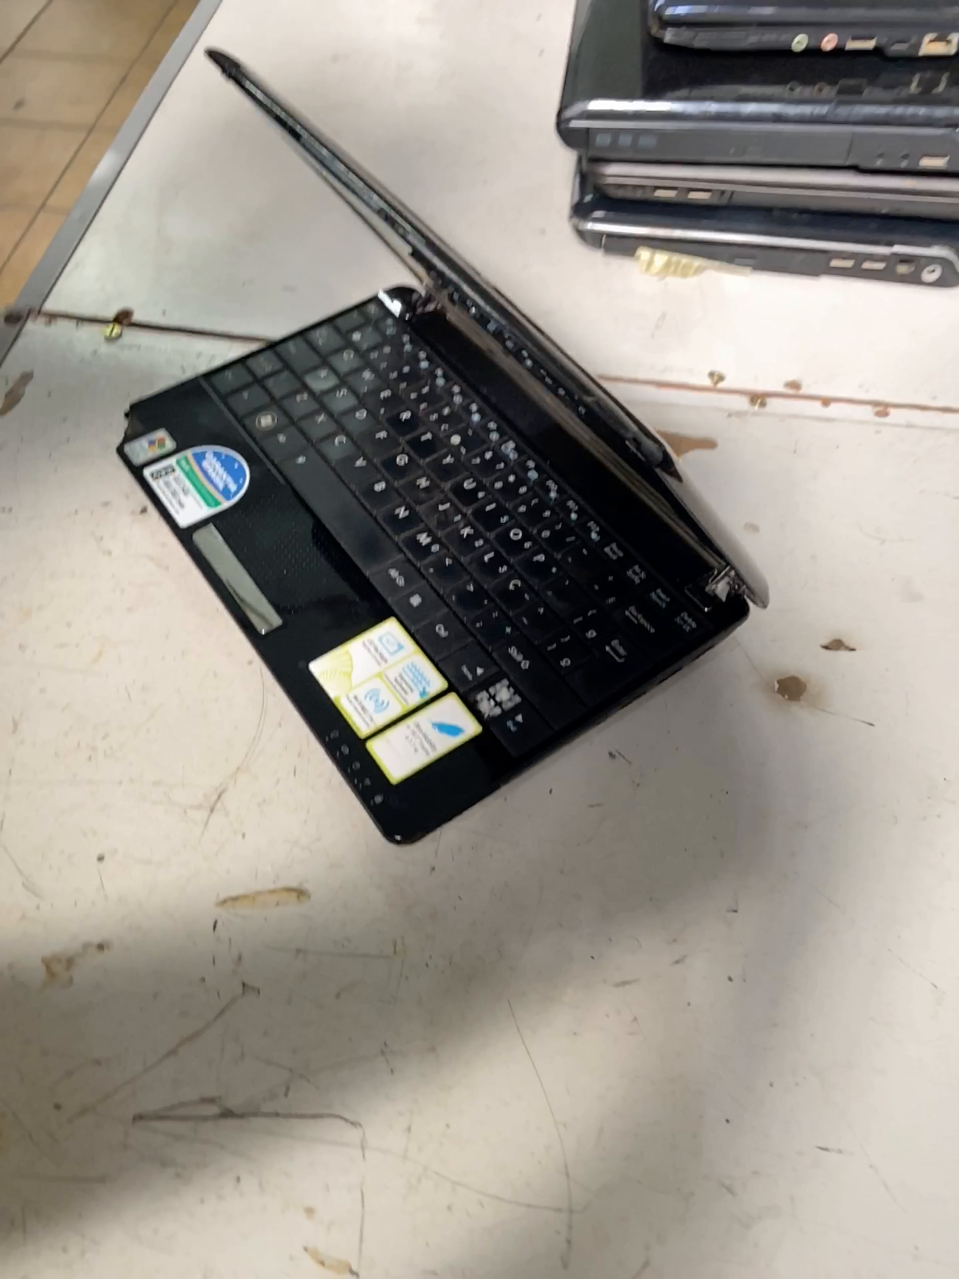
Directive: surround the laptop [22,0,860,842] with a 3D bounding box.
[{"bbox_3d":[-0.030,-0.099,0.384,0.168,0.137,0.263,-29,61,-19],"label":"laptop"}]
